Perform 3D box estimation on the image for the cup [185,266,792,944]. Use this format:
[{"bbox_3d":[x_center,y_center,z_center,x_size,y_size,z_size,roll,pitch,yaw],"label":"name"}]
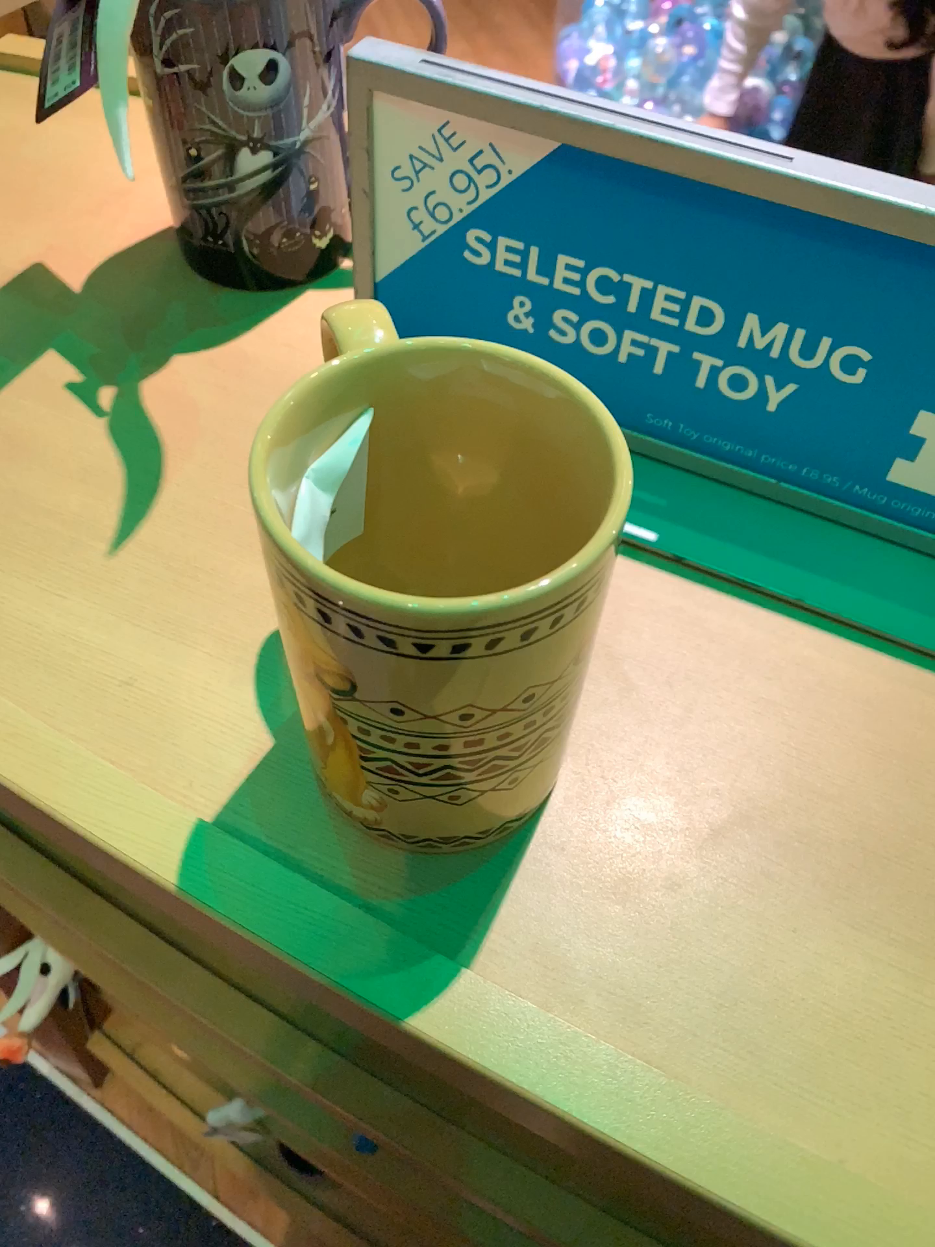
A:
[{"bbox_3d":[-0.006,-0.005,0.272,0.100,0.121,0.120,-17,56,-19],"label":"cup"}]
